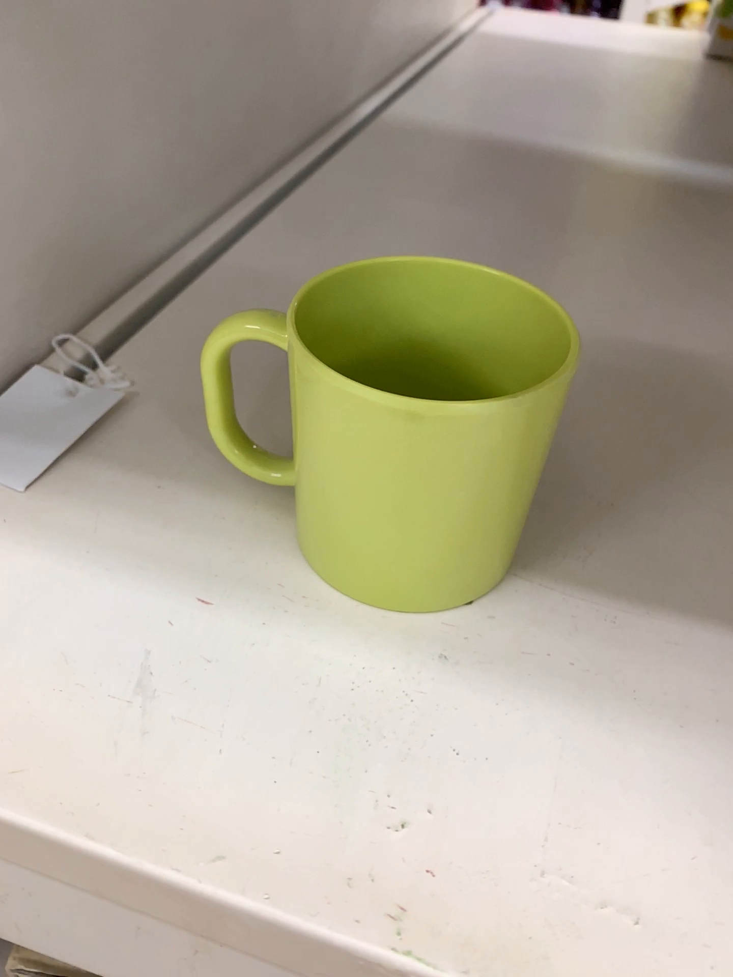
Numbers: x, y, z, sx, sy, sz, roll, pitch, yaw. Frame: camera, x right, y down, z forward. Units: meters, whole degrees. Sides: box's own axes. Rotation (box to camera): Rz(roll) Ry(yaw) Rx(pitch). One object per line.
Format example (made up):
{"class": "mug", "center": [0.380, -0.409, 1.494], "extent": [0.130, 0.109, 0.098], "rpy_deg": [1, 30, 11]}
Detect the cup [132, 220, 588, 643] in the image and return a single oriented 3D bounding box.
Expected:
{"class": "cup", "center": [0.002, -0.018, 0.199], "extent": [0.089, 0.063, 0.078], "rpy_deg": [9, 40, 5]}
